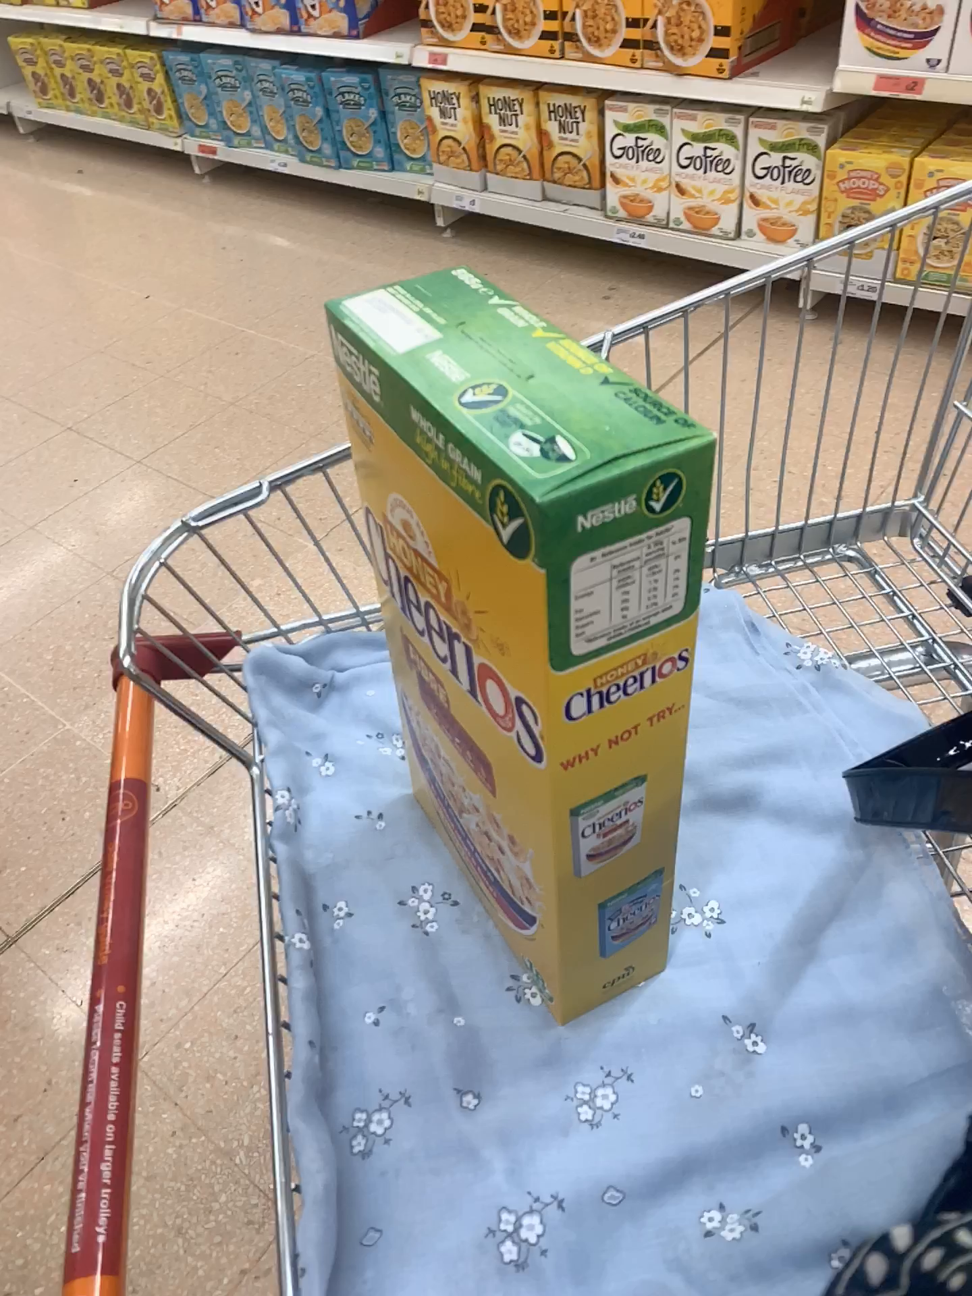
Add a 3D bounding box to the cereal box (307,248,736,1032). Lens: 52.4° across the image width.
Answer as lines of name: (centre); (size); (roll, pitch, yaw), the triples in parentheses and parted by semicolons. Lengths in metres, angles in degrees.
cereal box: (0.014, 0.009, 0.512); (0.080, 0.347, 0.212); (-22, 45, -17)
